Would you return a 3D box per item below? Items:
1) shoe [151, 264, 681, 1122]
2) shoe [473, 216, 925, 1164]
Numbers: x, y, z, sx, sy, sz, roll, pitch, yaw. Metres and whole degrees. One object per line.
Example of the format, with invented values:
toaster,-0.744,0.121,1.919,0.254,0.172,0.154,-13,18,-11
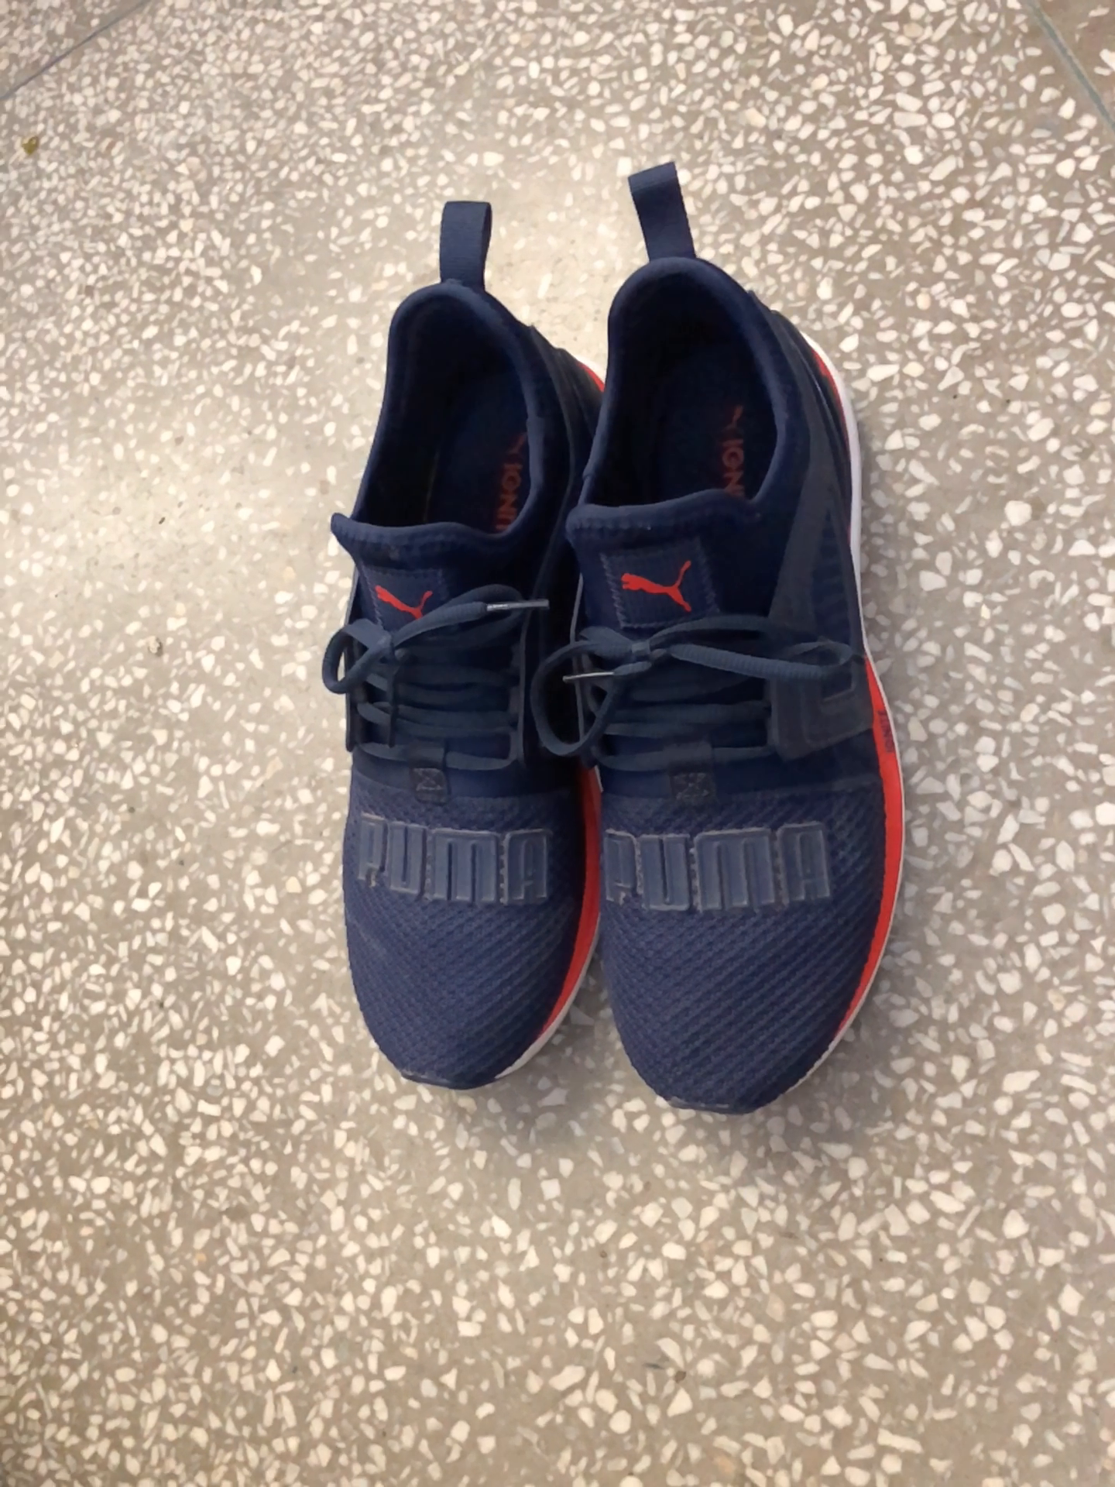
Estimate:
shoe,-0.037,-0.014,0.430,0.107,0.113,0.257,4,80,20
shoe,0.056,-0.012,0.396,0.107,0.113,0.257,1,78,20
